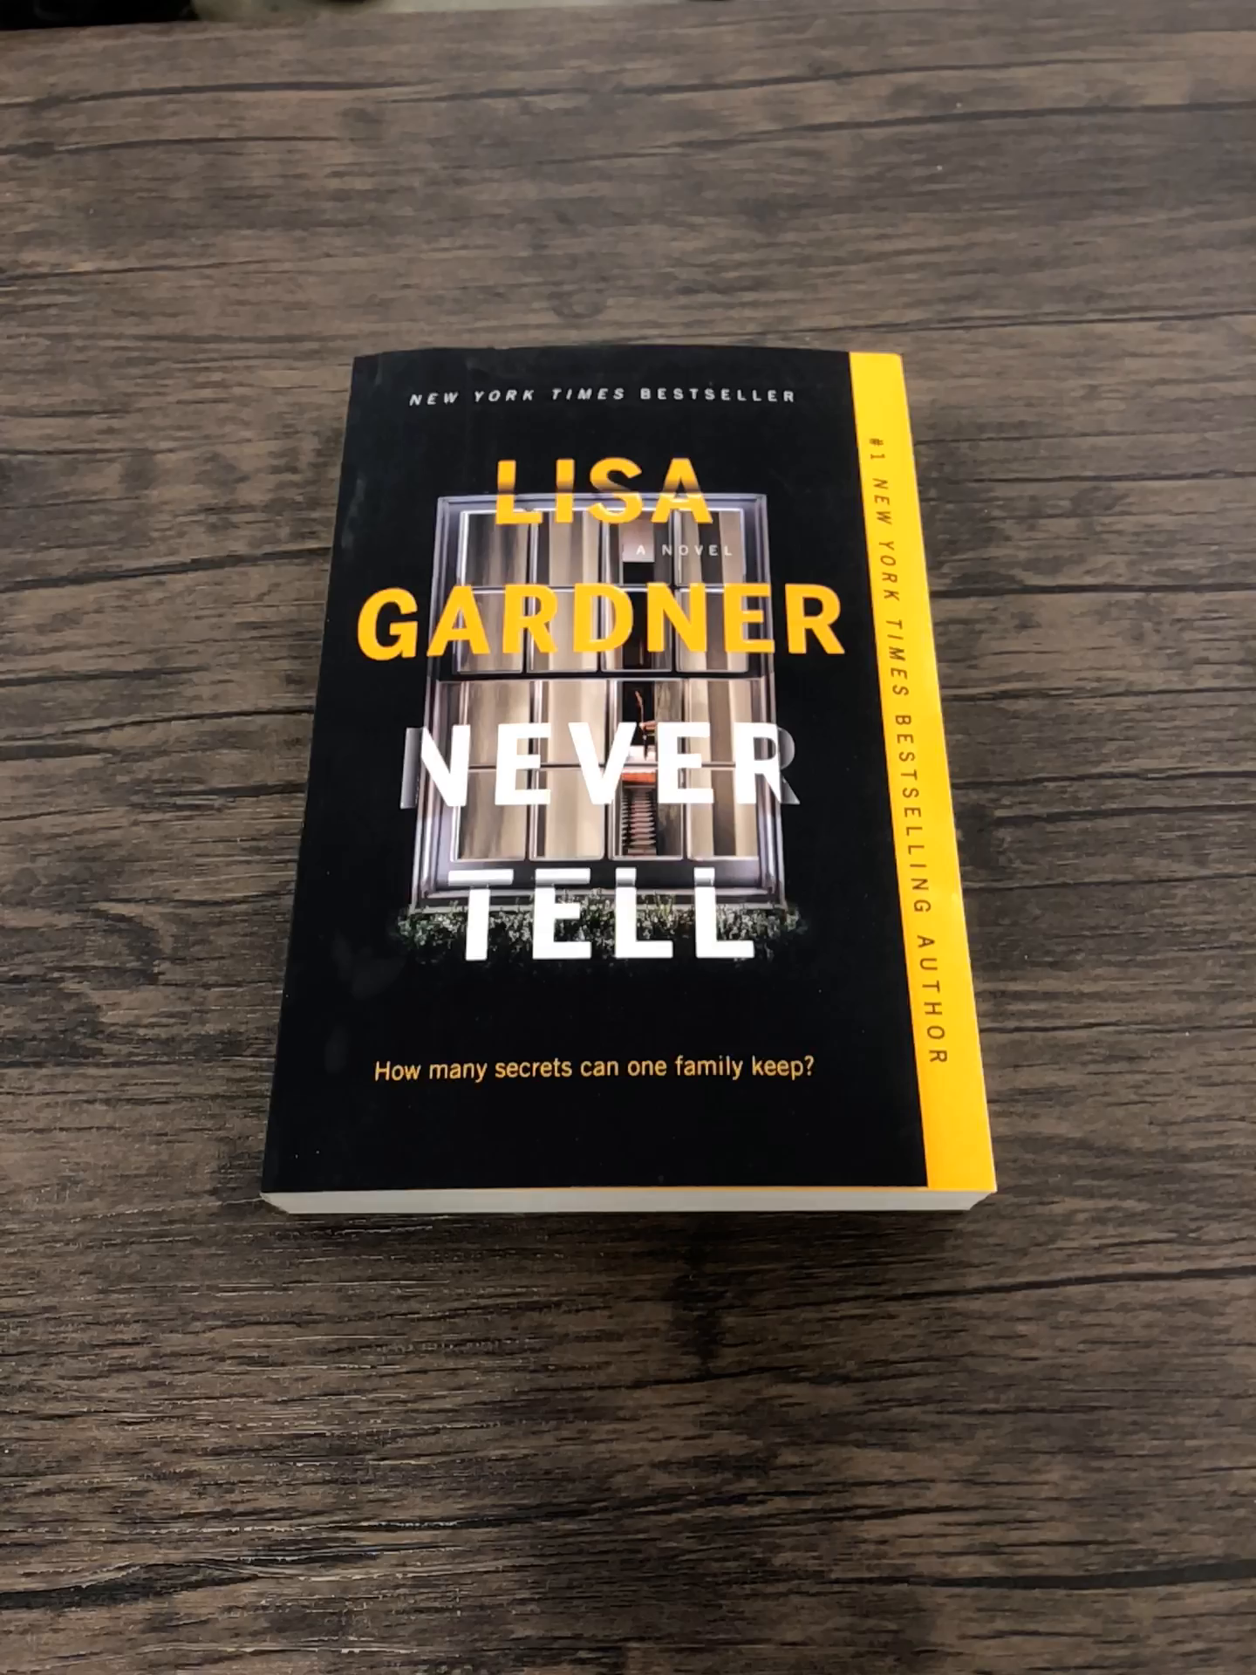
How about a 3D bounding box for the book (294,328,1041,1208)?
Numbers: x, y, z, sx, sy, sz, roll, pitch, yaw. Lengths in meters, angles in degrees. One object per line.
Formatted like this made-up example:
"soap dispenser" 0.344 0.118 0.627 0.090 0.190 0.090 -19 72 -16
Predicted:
"book" 0.008 -0.025 0.316 0.137 0.032 0.207 0 64 0
